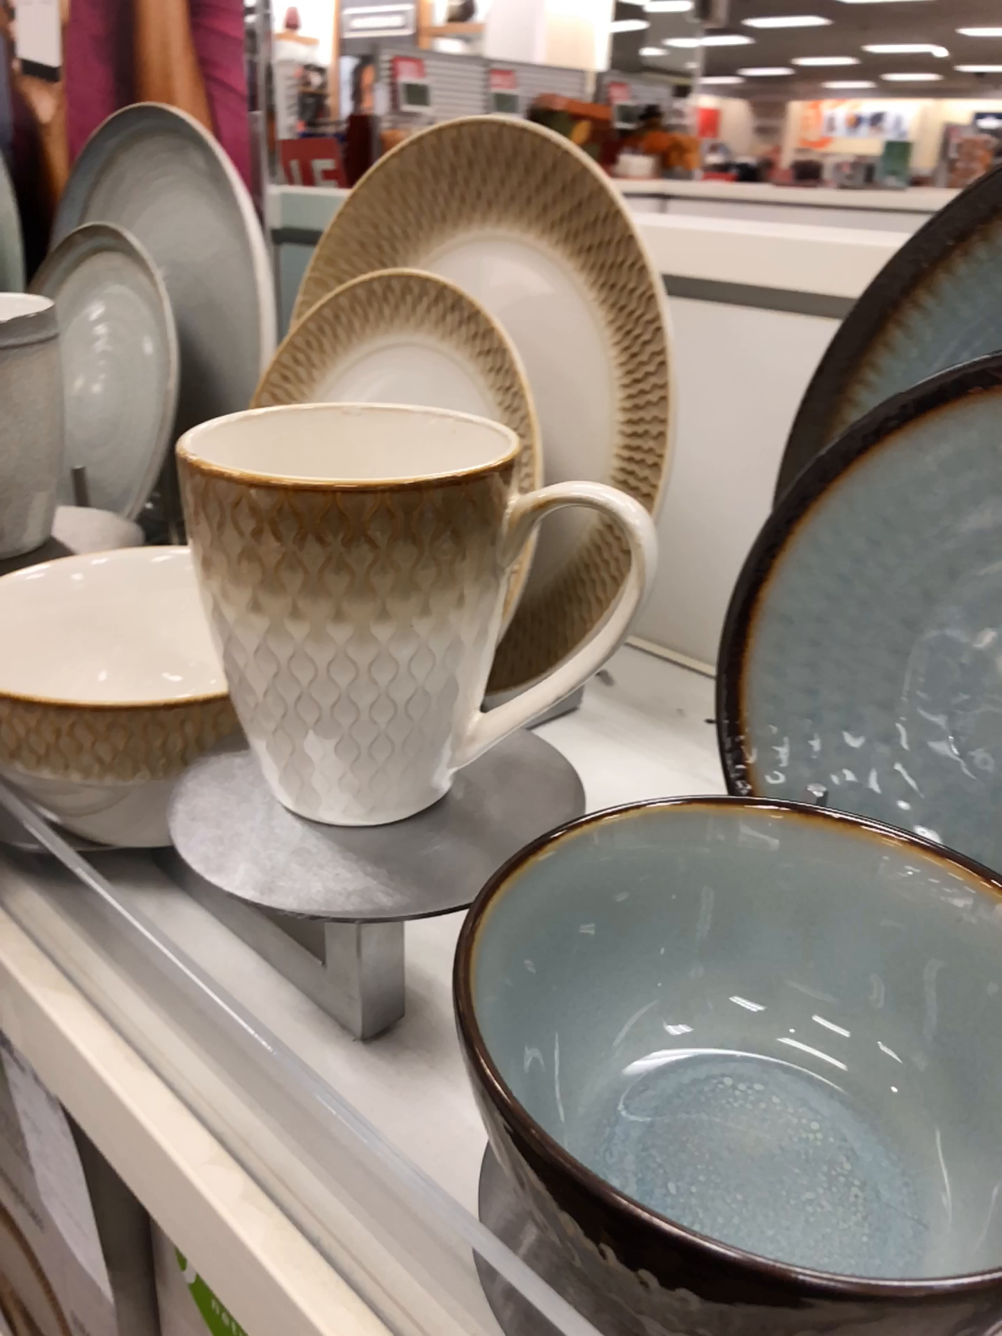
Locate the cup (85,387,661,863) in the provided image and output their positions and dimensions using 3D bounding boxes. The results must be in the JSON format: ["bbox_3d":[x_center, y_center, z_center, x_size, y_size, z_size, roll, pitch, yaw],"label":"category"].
[{"bbox_3d":[-0.025,-0.019,0.308,0.128,0.089,0.100,6,24,6],"label":"cup"}]
